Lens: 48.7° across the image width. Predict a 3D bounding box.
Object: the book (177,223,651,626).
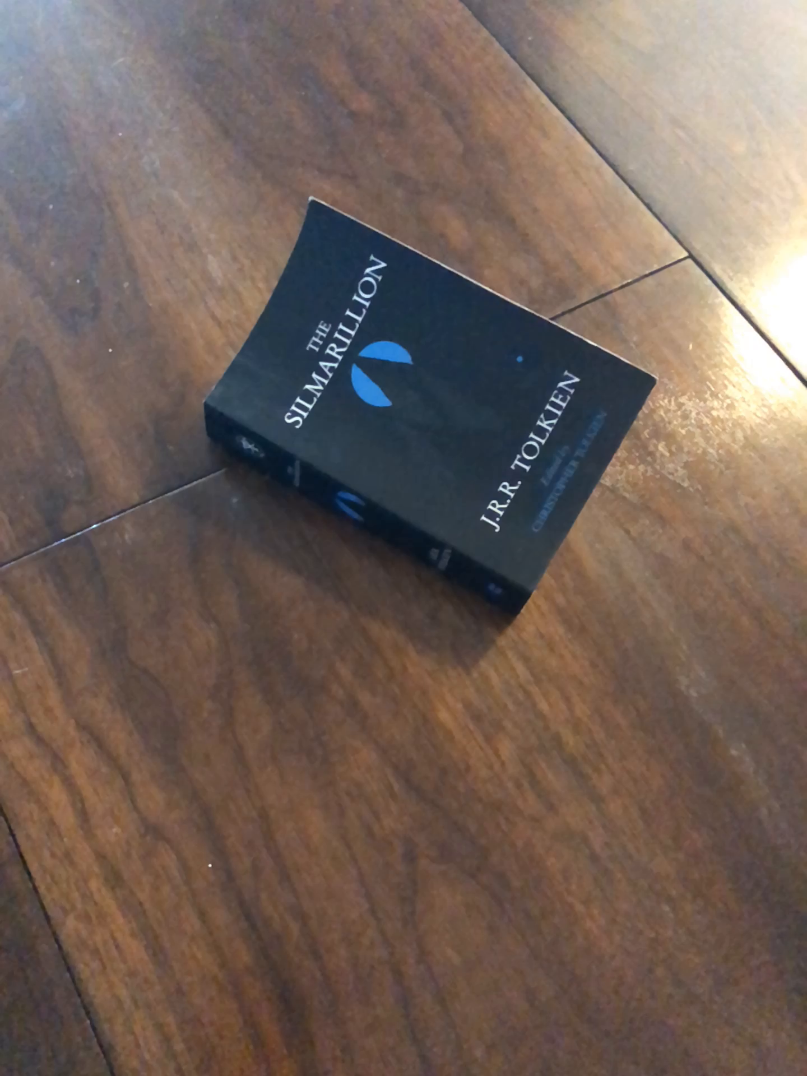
[{"bbox_3d":[0.006,-0.058,0.421,0.180,0.040,0.119,29,66,7],"label":"book"}]
